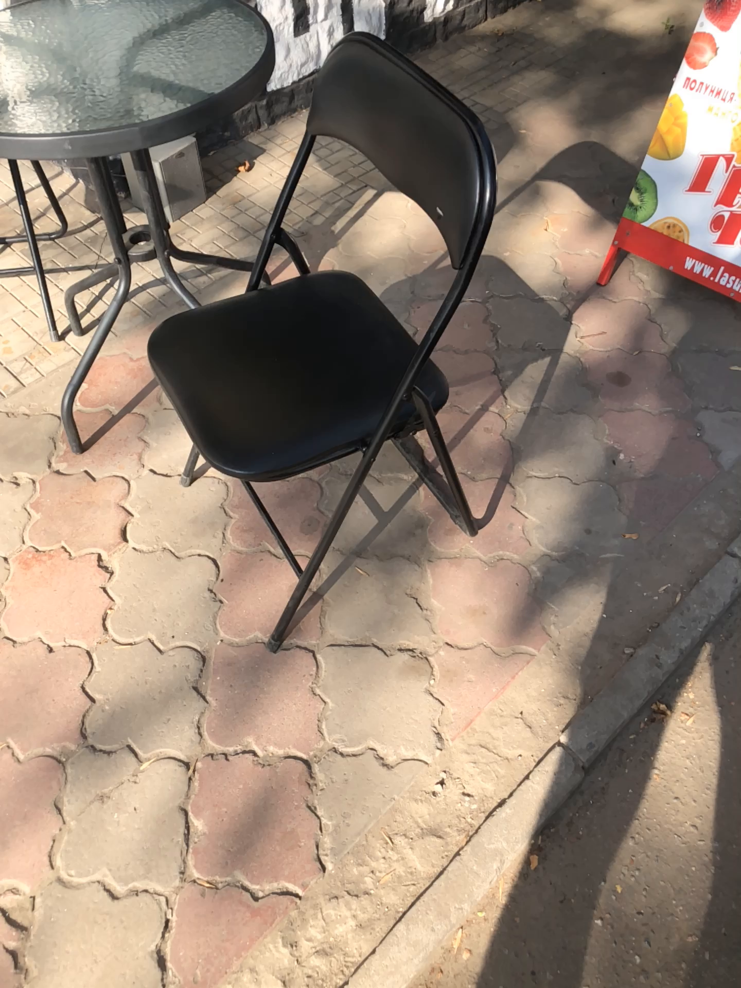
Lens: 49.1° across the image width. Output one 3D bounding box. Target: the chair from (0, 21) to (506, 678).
[{"bbox_3d":[-0.186,-0.246,1.441,0.571,0.837,0.582,-24,48,-18],"label":"chair"}]
